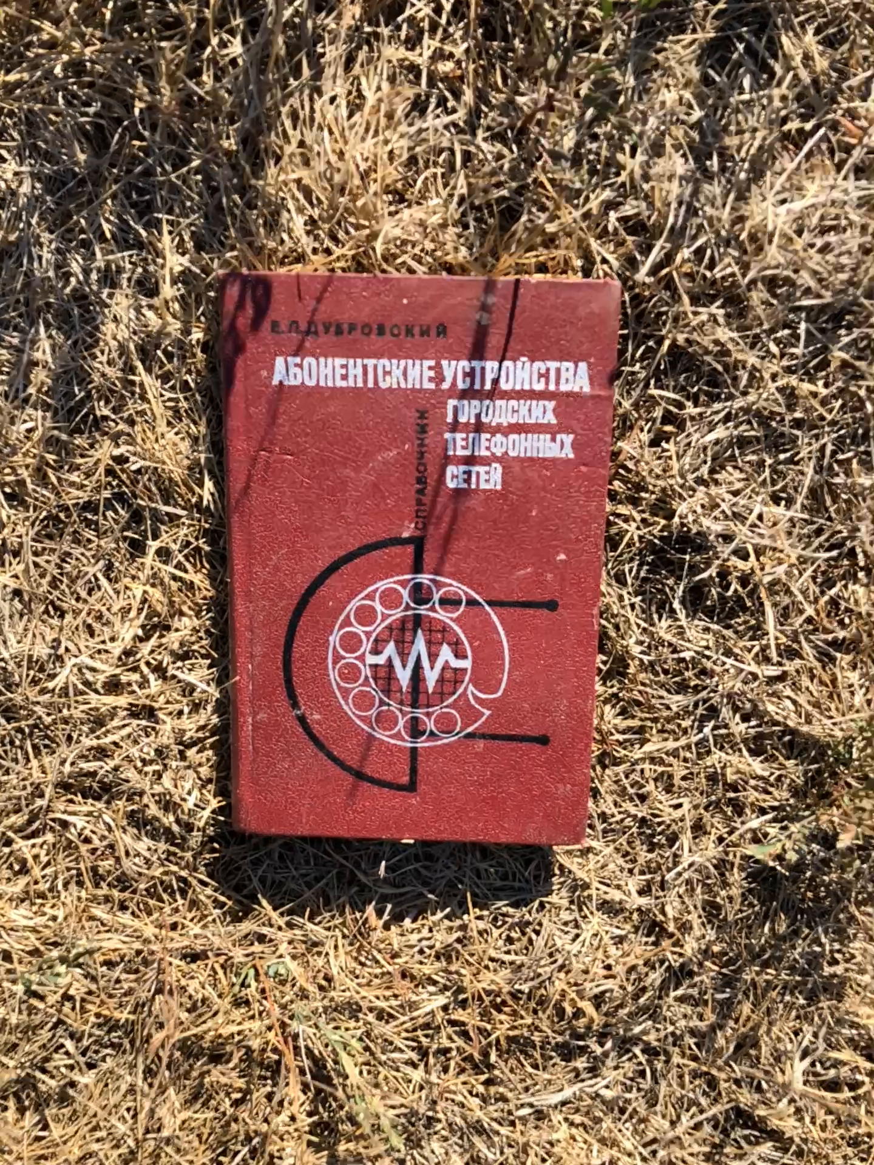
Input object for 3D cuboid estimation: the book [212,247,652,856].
[{"bbox_3d":[-0.005,-0.006,0.348,0.141,0.030,0.212,2,104,-1],"label":"book"}]
